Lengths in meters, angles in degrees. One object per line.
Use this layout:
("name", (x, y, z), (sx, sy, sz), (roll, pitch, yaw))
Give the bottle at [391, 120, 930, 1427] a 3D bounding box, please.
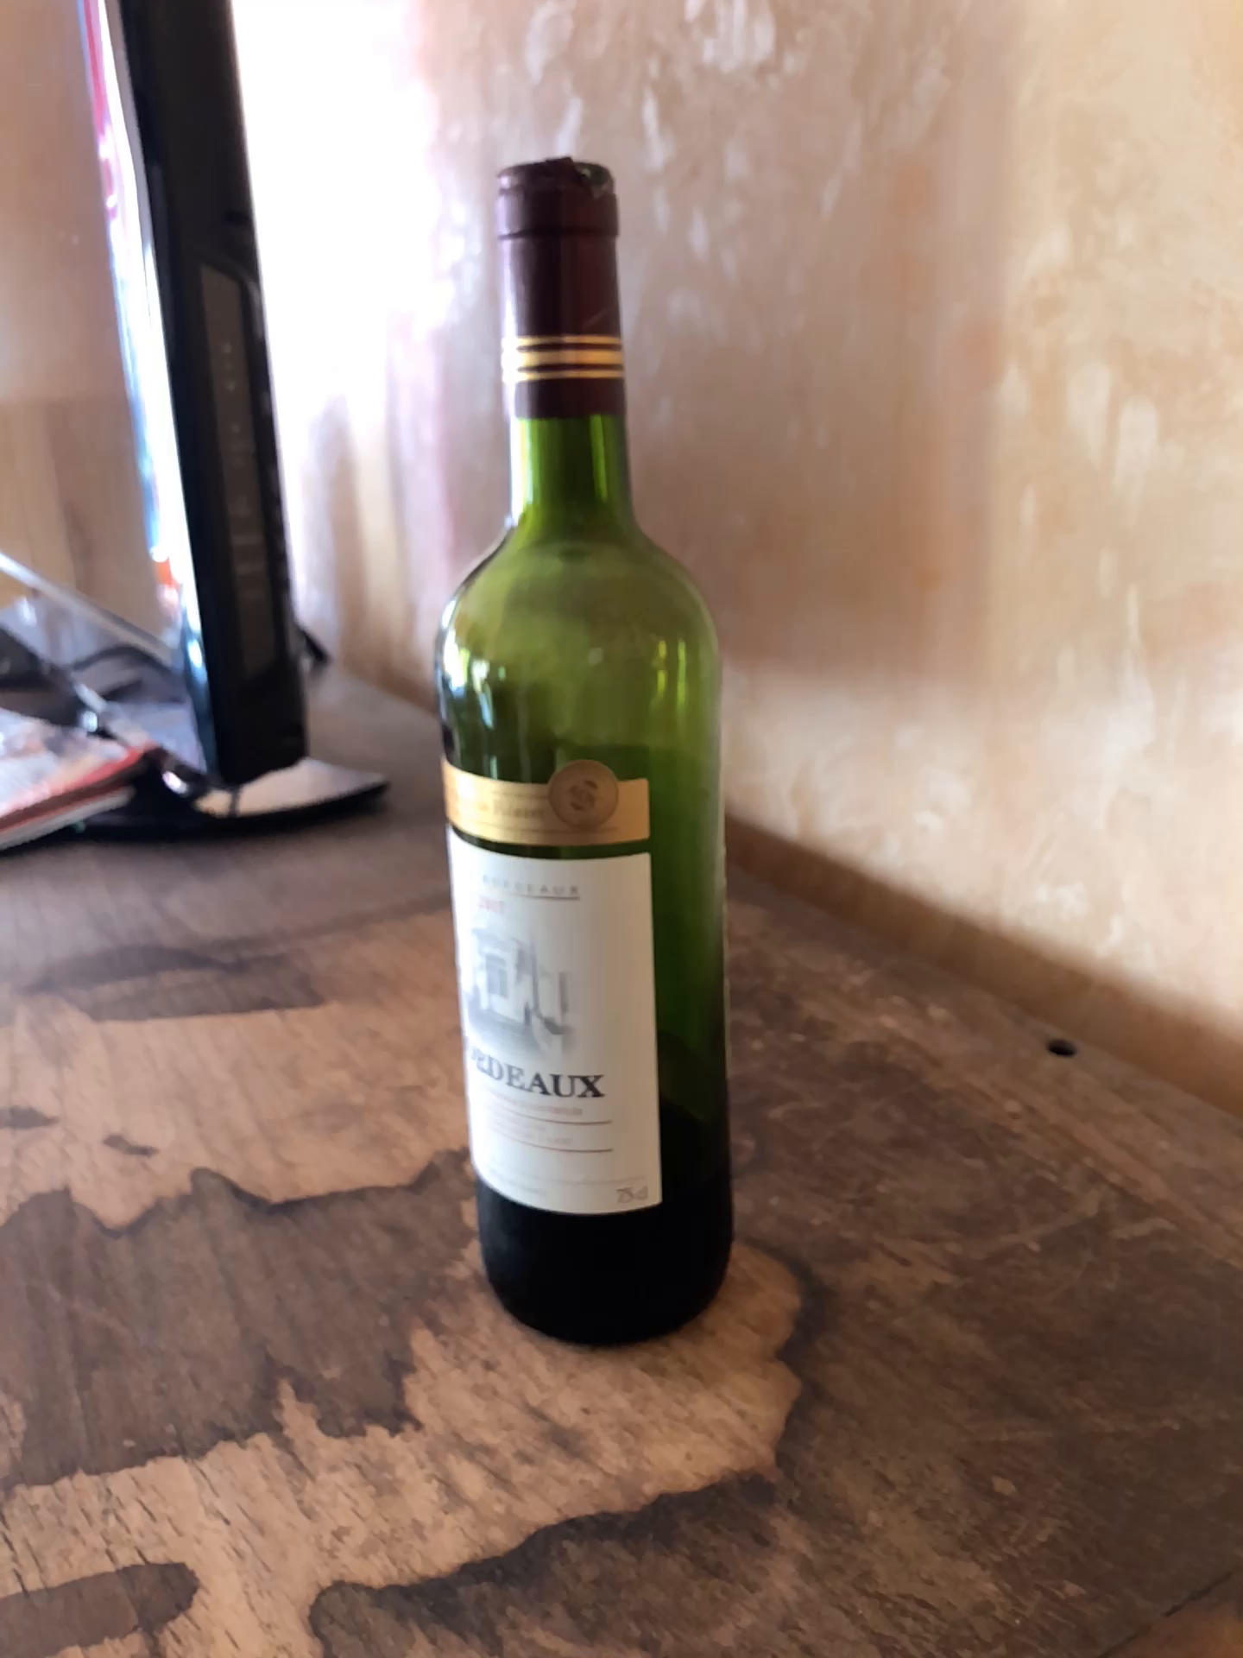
("bottle", (0.013, -0.010, 0.352), (0.090, 0.289, 0.080), (12, 22, 35))
